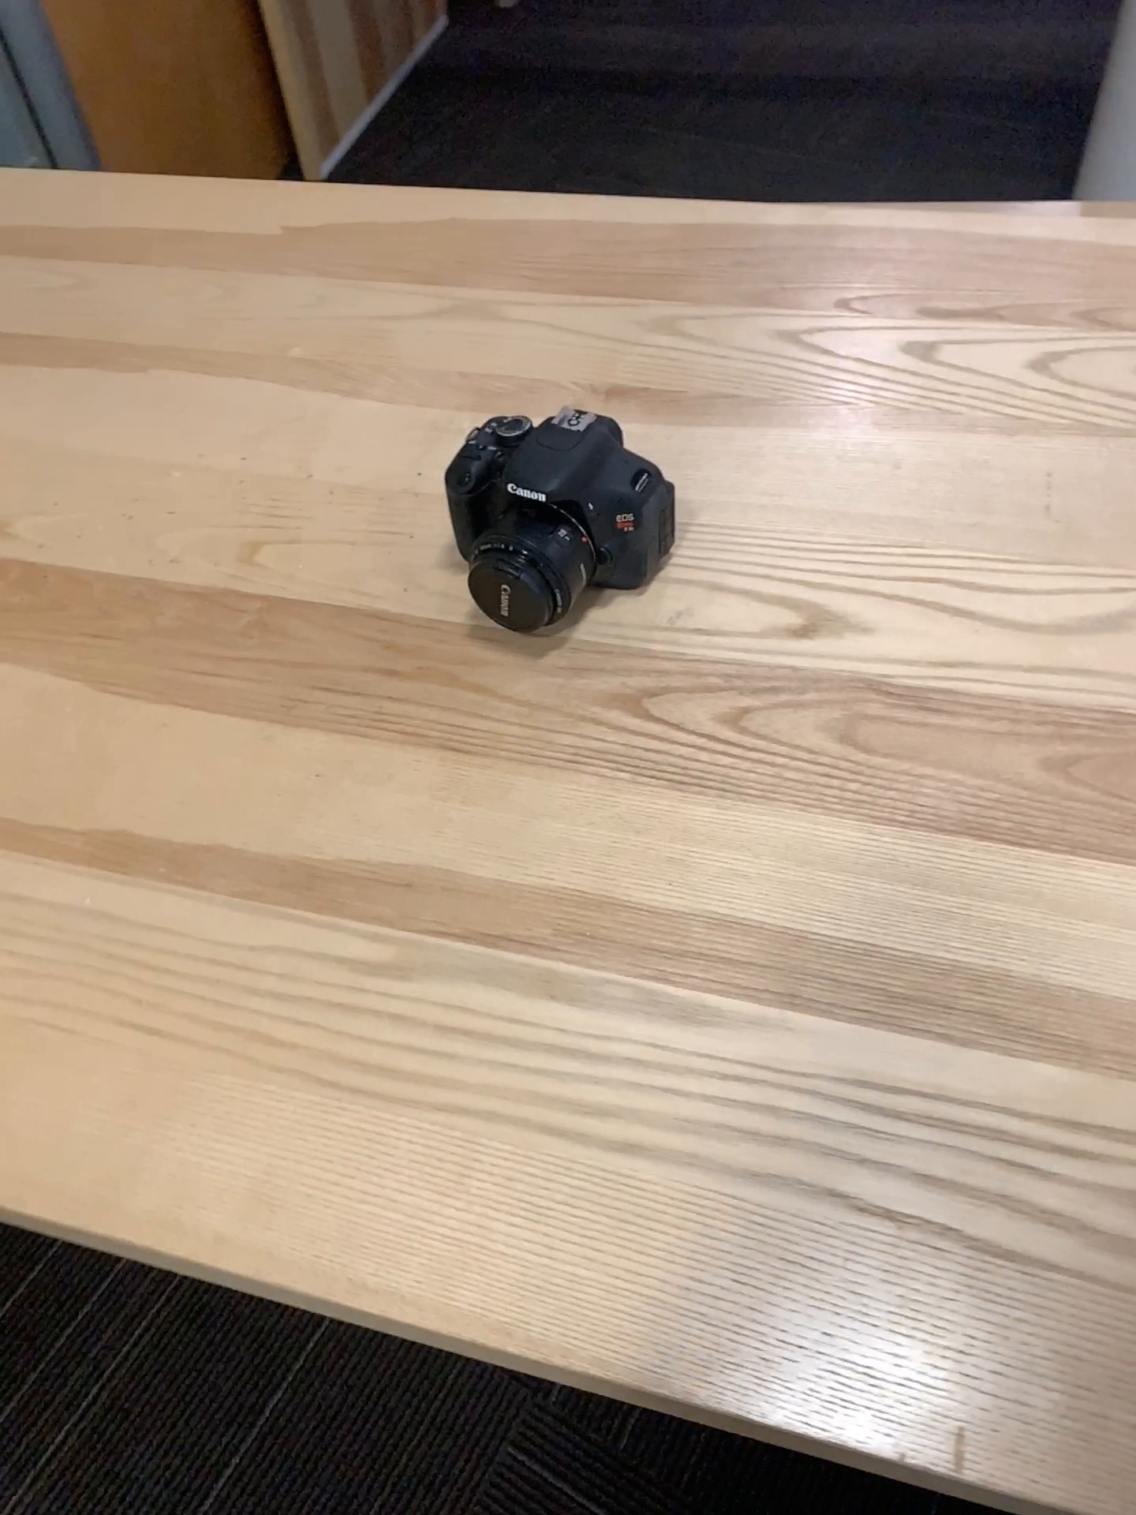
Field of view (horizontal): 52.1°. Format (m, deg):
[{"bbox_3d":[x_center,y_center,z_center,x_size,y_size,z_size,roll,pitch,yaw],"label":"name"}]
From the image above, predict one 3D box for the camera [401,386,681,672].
[{"bbox_3d":[-0.011,-0.141,0.709,0.123,0.094,0.116,19,56,20],"label":"camera"}]
